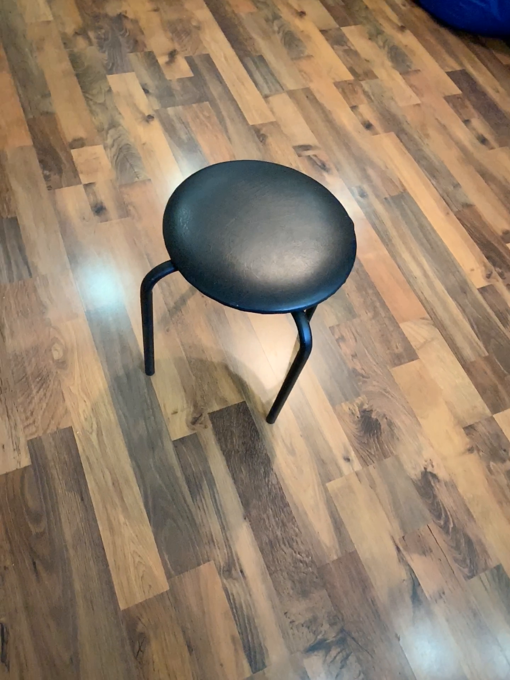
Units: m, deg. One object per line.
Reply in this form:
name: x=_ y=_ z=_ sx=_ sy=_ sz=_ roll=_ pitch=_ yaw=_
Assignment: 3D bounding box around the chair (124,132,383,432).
chair: x=-0.011 y=-0.093 z=1.067 sx=0.350 sy=0.427 sz=0.332 roll=21 pitch=60 yaw=4
